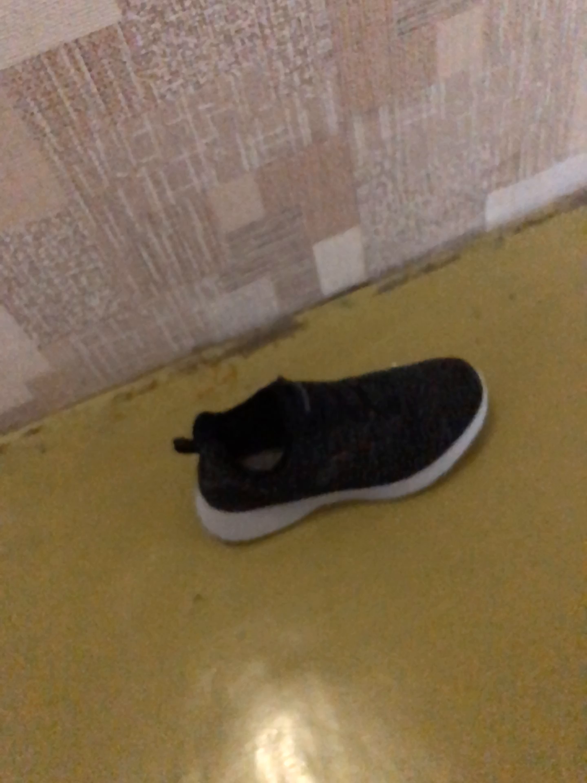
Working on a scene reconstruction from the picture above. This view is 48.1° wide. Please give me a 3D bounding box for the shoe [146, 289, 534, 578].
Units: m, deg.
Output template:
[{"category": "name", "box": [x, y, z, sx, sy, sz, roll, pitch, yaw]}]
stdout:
[{"category": "shoe", "box": [0.042, 0.041, 0.628, 0.320, 0.120, 0.130, -20, 52, -2]}]
